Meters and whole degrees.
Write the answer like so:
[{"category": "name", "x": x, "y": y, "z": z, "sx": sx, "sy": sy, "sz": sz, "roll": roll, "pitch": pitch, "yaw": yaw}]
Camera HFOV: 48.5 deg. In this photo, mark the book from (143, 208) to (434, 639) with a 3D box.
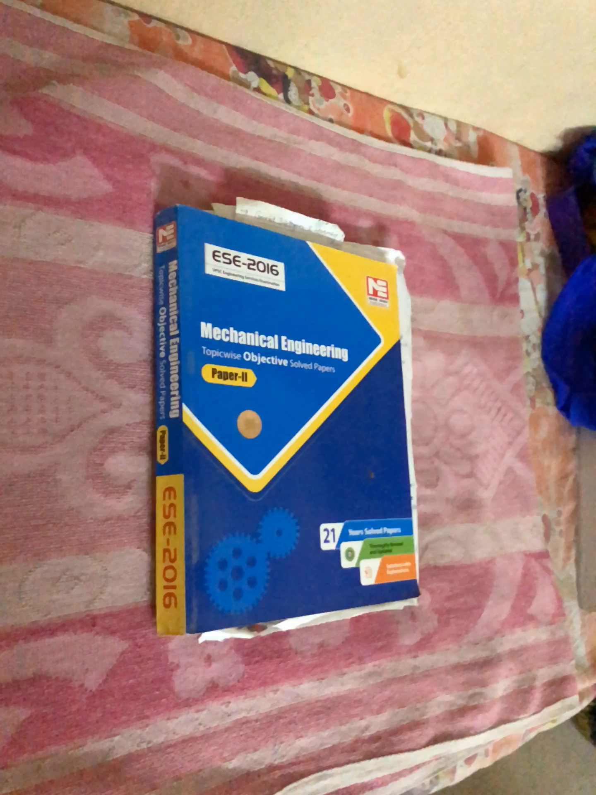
[{"category": "book", "x": -0.003, "y": 0.020, "z": 0.496, "sx": 0.216, "sy": 0.055, "sz": 0.270, "roll": 5, "pitch": 77, "yaw": -37}]
